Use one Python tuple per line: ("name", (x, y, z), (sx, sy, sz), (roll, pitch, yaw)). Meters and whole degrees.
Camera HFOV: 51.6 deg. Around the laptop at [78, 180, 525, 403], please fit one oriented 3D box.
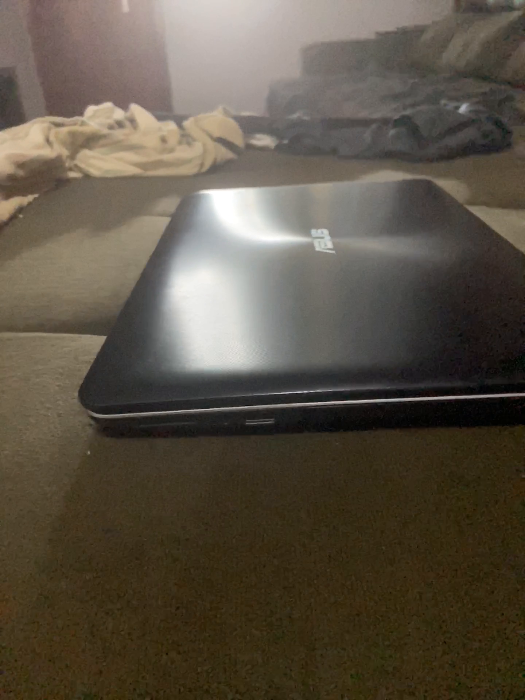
("laptop", (0.036, -0.076, 0.406), (0.234, 0.004, 0.372), (-3, 30, 3))
